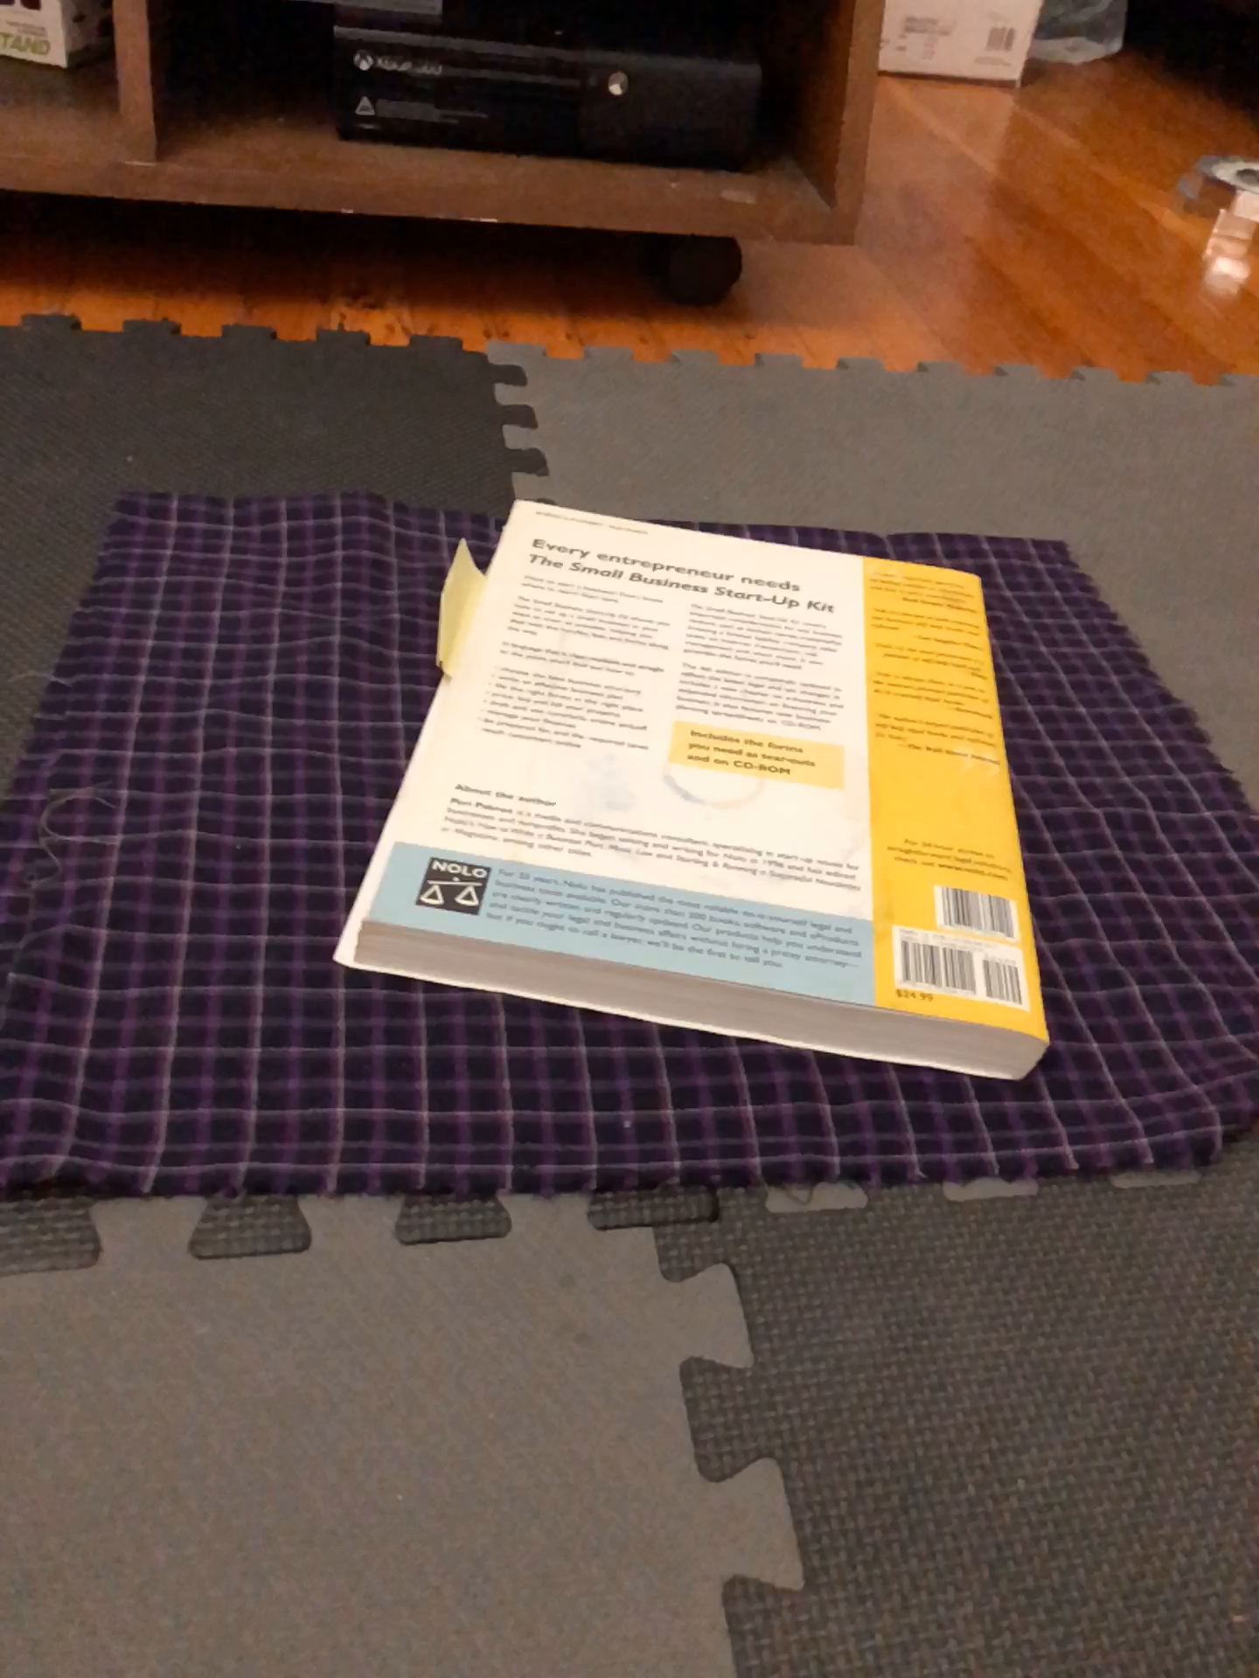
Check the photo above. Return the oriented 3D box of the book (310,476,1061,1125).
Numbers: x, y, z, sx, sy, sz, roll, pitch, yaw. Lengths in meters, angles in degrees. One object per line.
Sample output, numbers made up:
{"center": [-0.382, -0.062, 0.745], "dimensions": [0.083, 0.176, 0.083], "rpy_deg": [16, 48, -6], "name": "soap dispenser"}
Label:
{"center": [0.033, -0.041, 0.547], "dimensions": [0.230, 0.030, 0.312], "rpy_deg": [10, 41, 0], "name": "book"}
